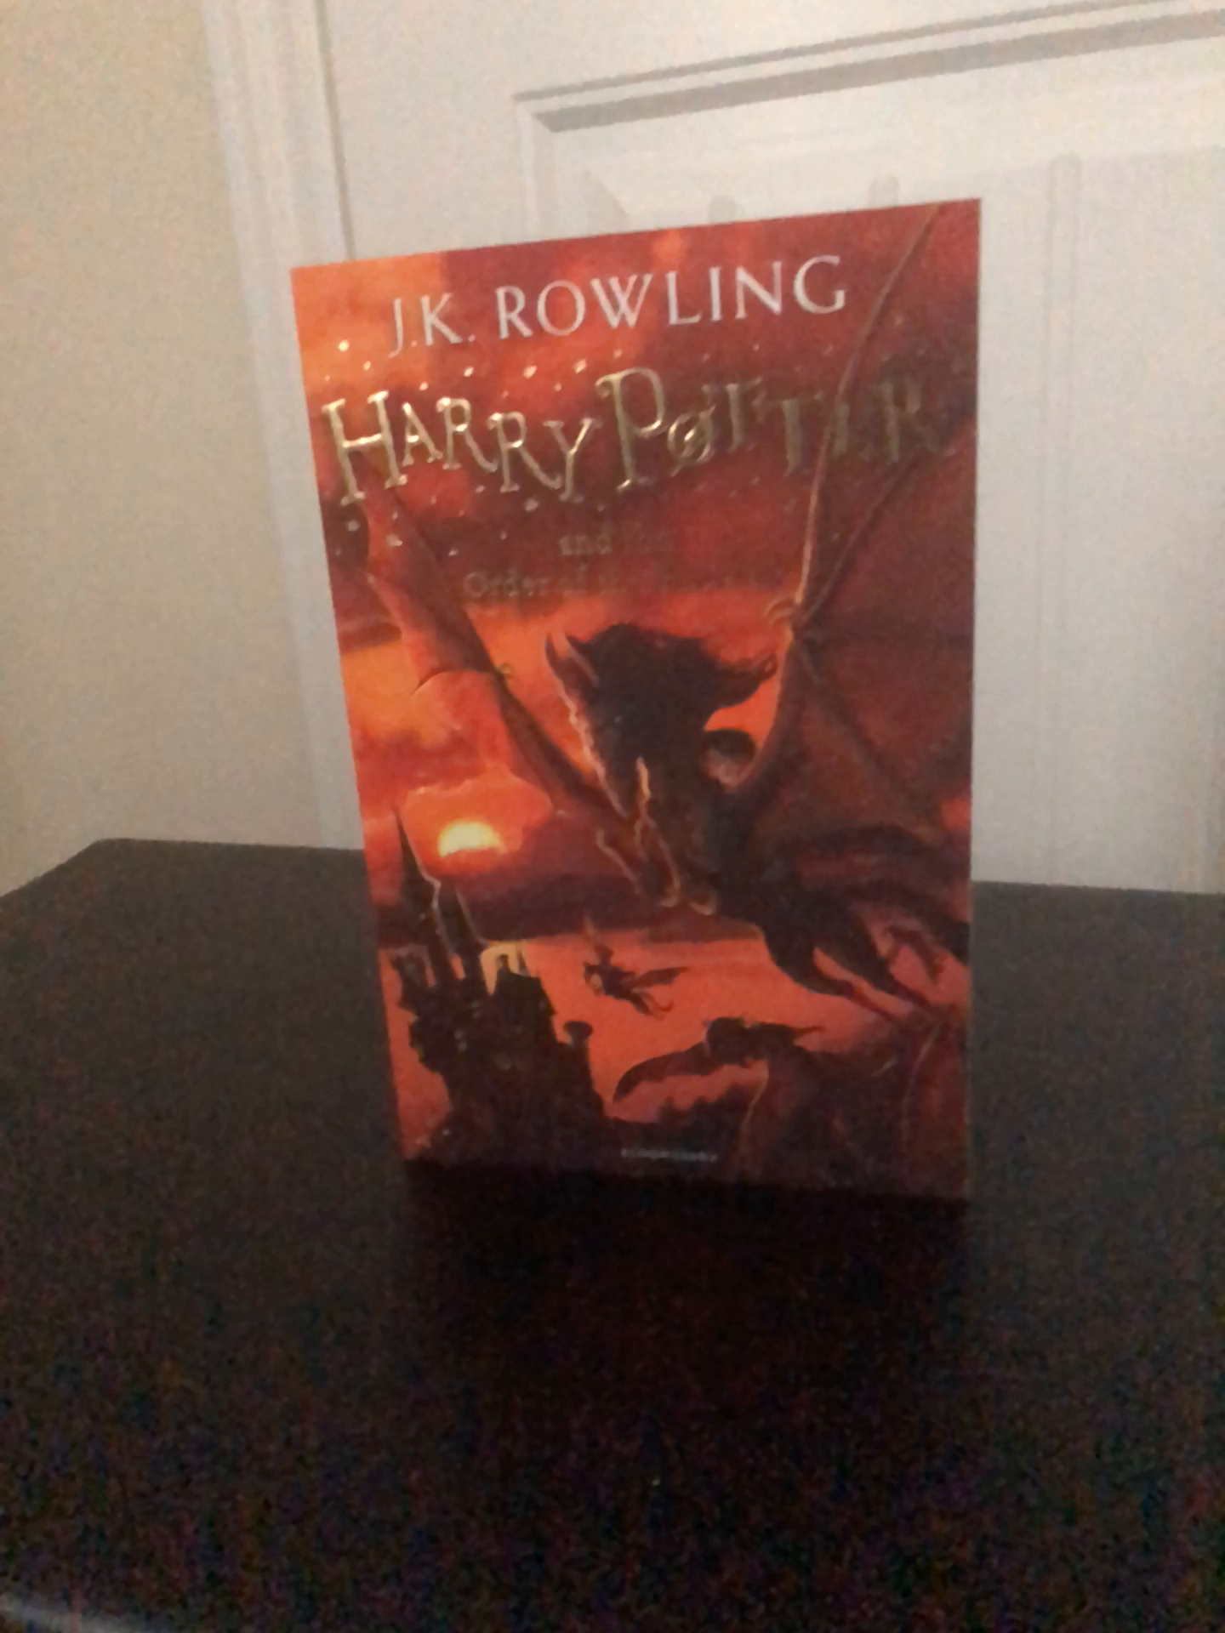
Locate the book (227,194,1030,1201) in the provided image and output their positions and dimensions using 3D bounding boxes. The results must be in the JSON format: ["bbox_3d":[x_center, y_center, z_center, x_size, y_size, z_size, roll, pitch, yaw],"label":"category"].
[{"bbox_3d":[0.011,-0.021,0.292,0.141,0.189,0.062,0,19,12],"label":"book"}]
